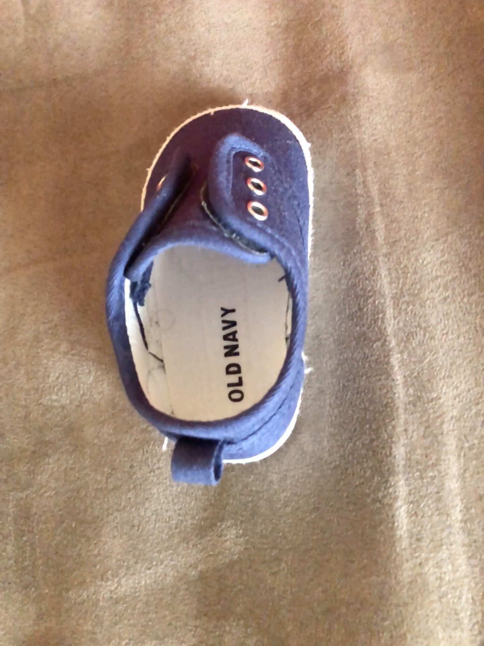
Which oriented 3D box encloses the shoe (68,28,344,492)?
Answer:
[{"bbox_3d":[-0.008,-0.012,0.163,0.060,0.060,0.110,-6,82,16],"label":"shoe"}]
